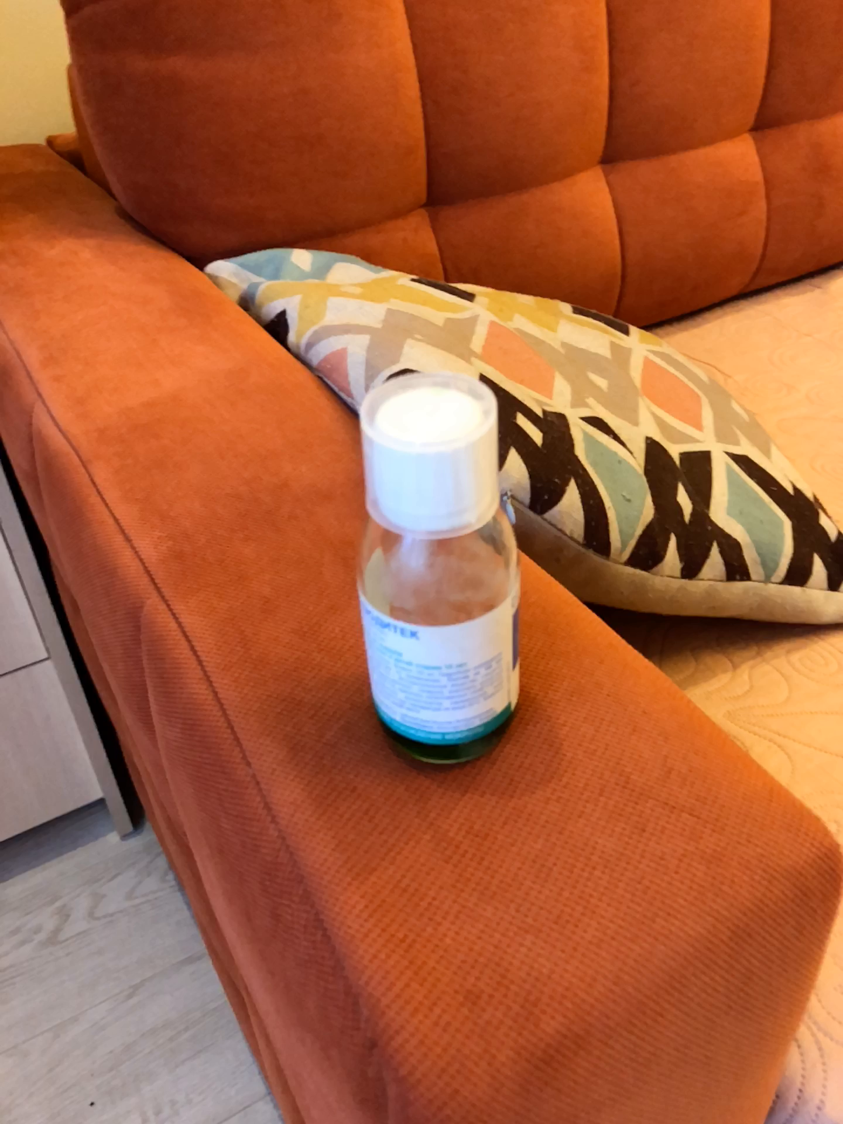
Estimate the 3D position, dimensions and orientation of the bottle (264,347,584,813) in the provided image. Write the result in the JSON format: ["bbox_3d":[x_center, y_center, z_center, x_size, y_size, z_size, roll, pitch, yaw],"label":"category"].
[{"bbox_3d":[0.002,0.005,0.270,0.060,0.106,0.060,-3,37,2],"label":"bottle"}]
